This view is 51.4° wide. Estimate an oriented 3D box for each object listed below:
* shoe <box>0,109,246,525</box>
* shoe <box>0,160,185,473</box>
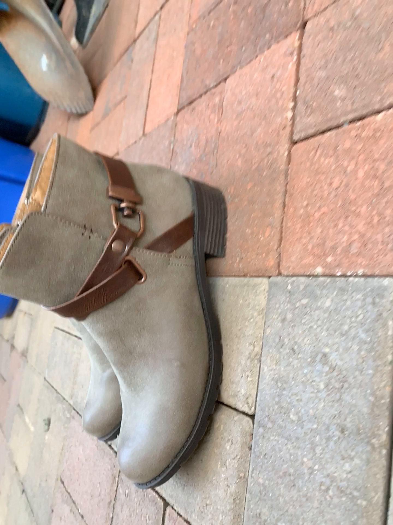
[{"bbox_3d":[-0.070,0.046,0.311,0.096,0.165,0.250,-7,75,59],"label":"shoe"},{"bbox_3d":[-0.122,0.051,0.394,0.096,0.165,0.238,-3,78,60],"label":"shoe"}]
